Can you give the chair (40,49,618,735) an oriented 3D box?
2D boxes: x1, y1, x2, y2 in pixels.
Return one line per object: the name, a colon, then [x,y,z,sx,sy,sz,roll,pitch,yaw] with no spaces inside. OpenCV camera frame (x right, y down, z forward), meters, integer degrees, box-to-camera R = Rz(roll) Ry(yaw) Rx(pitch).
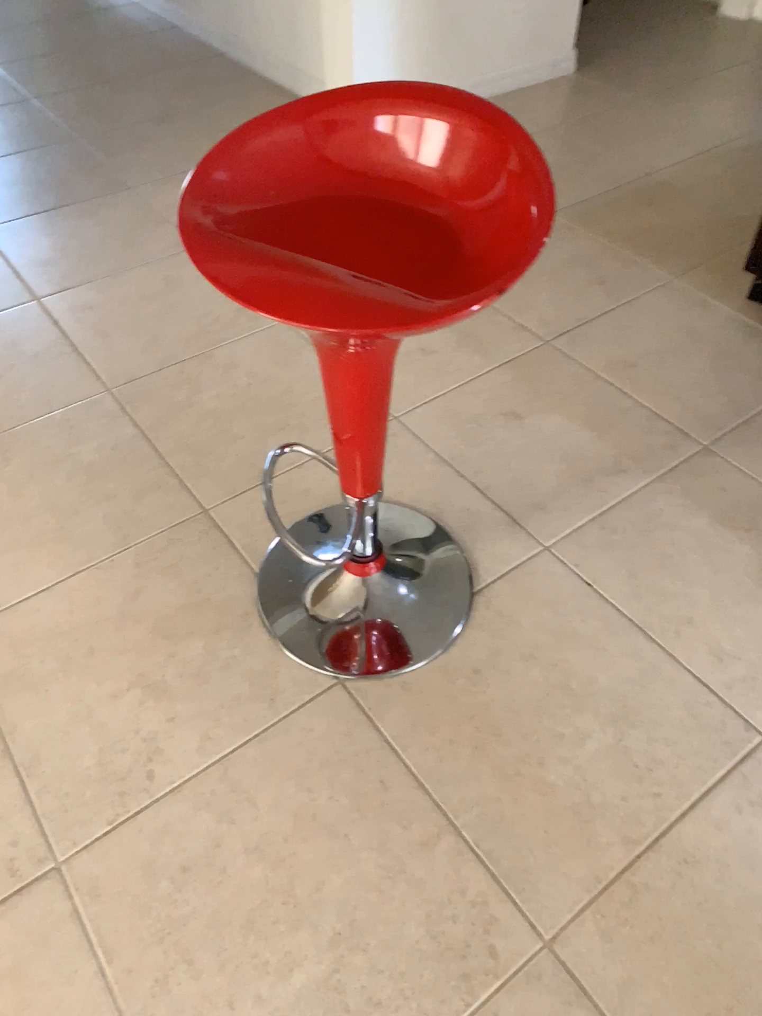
chair: [-0.041,-0.139,1.080,0.439,0.726,0.434,27,52,23]
